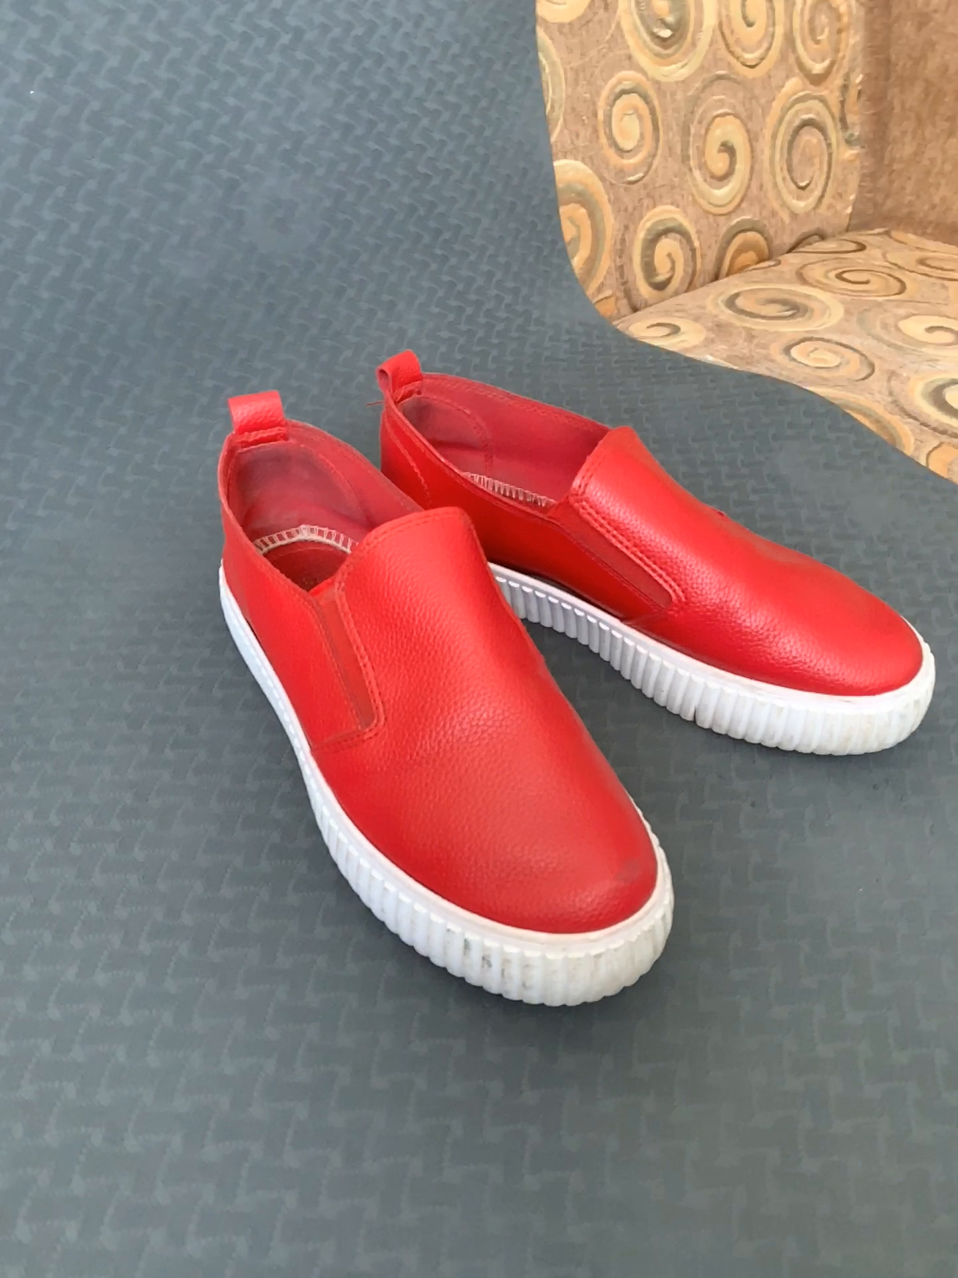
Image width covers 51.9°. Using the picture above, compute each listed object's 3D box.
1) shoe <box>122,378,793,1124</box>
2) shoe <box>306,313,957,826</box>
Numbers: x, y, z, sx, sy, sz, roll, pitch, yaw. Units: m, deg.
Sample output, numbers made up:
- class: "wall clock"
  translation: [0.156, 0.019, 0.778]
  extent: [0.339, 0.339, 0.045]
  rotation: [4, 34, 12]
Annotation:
- class: "shoe"
  translation: [-0.026, 0.012, 0.324]
  extent: [0.095, 0.070, 0.241]
  rotation: [-21, 50, -24]
- class: "shoe"
  translation: [0.061, -0.039, 0.375]
  extent: [0.240, 0.070, 0.096]
  rotation: [25, 48, 20]
